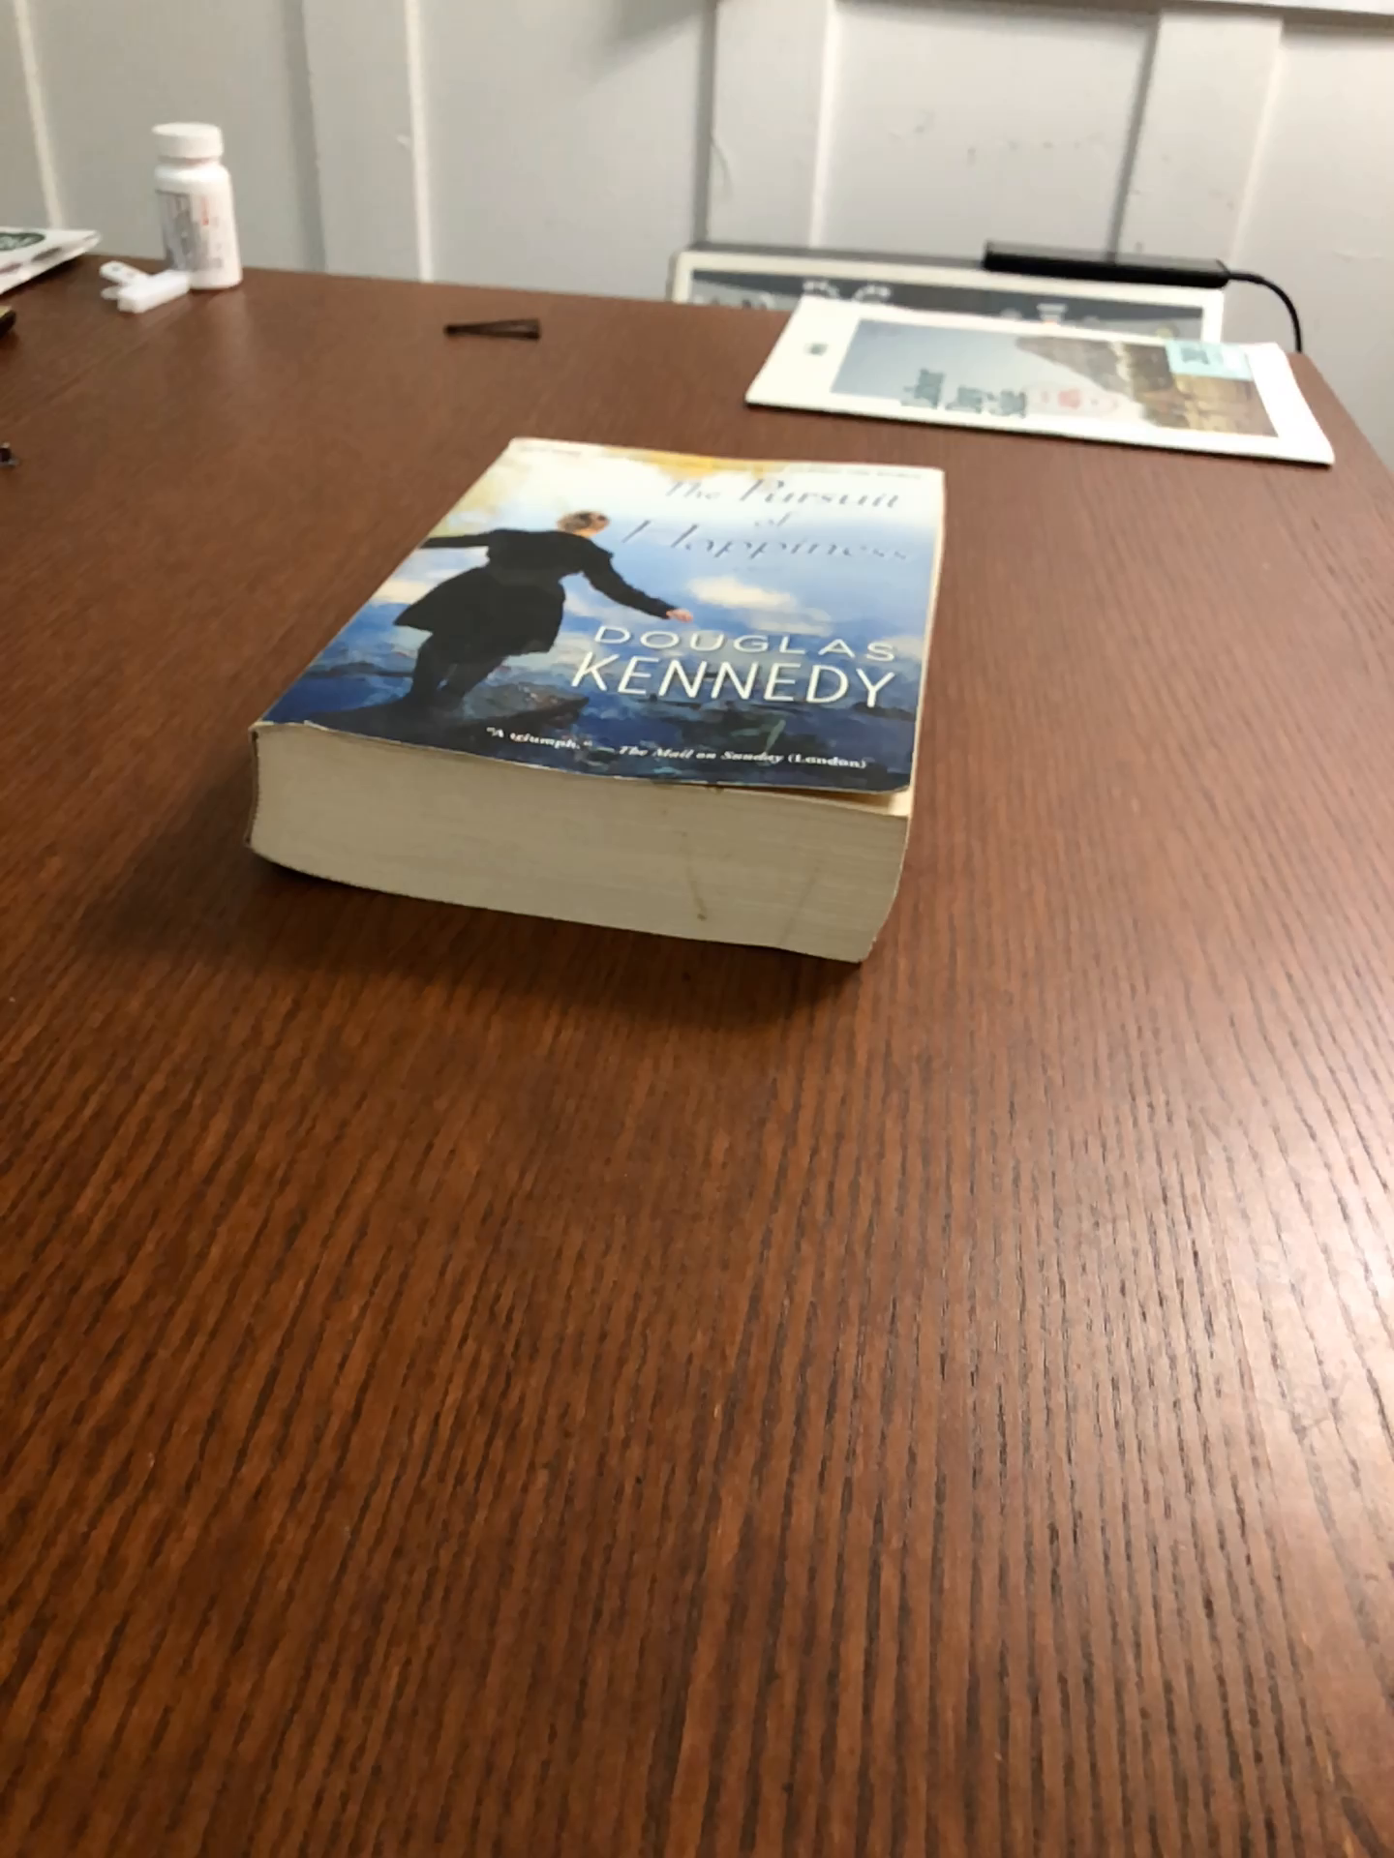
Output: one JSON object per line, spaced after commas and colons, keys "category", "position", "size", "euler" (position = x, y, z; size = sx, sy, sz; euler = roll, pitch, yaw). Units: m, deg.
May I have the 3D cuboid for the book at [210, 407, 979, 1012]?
{"category": "book", "position": [-0.006, -0.079, 0.431], "size": [0.160, 0.050, 0.241], "euler": [8, 35, 6]}
